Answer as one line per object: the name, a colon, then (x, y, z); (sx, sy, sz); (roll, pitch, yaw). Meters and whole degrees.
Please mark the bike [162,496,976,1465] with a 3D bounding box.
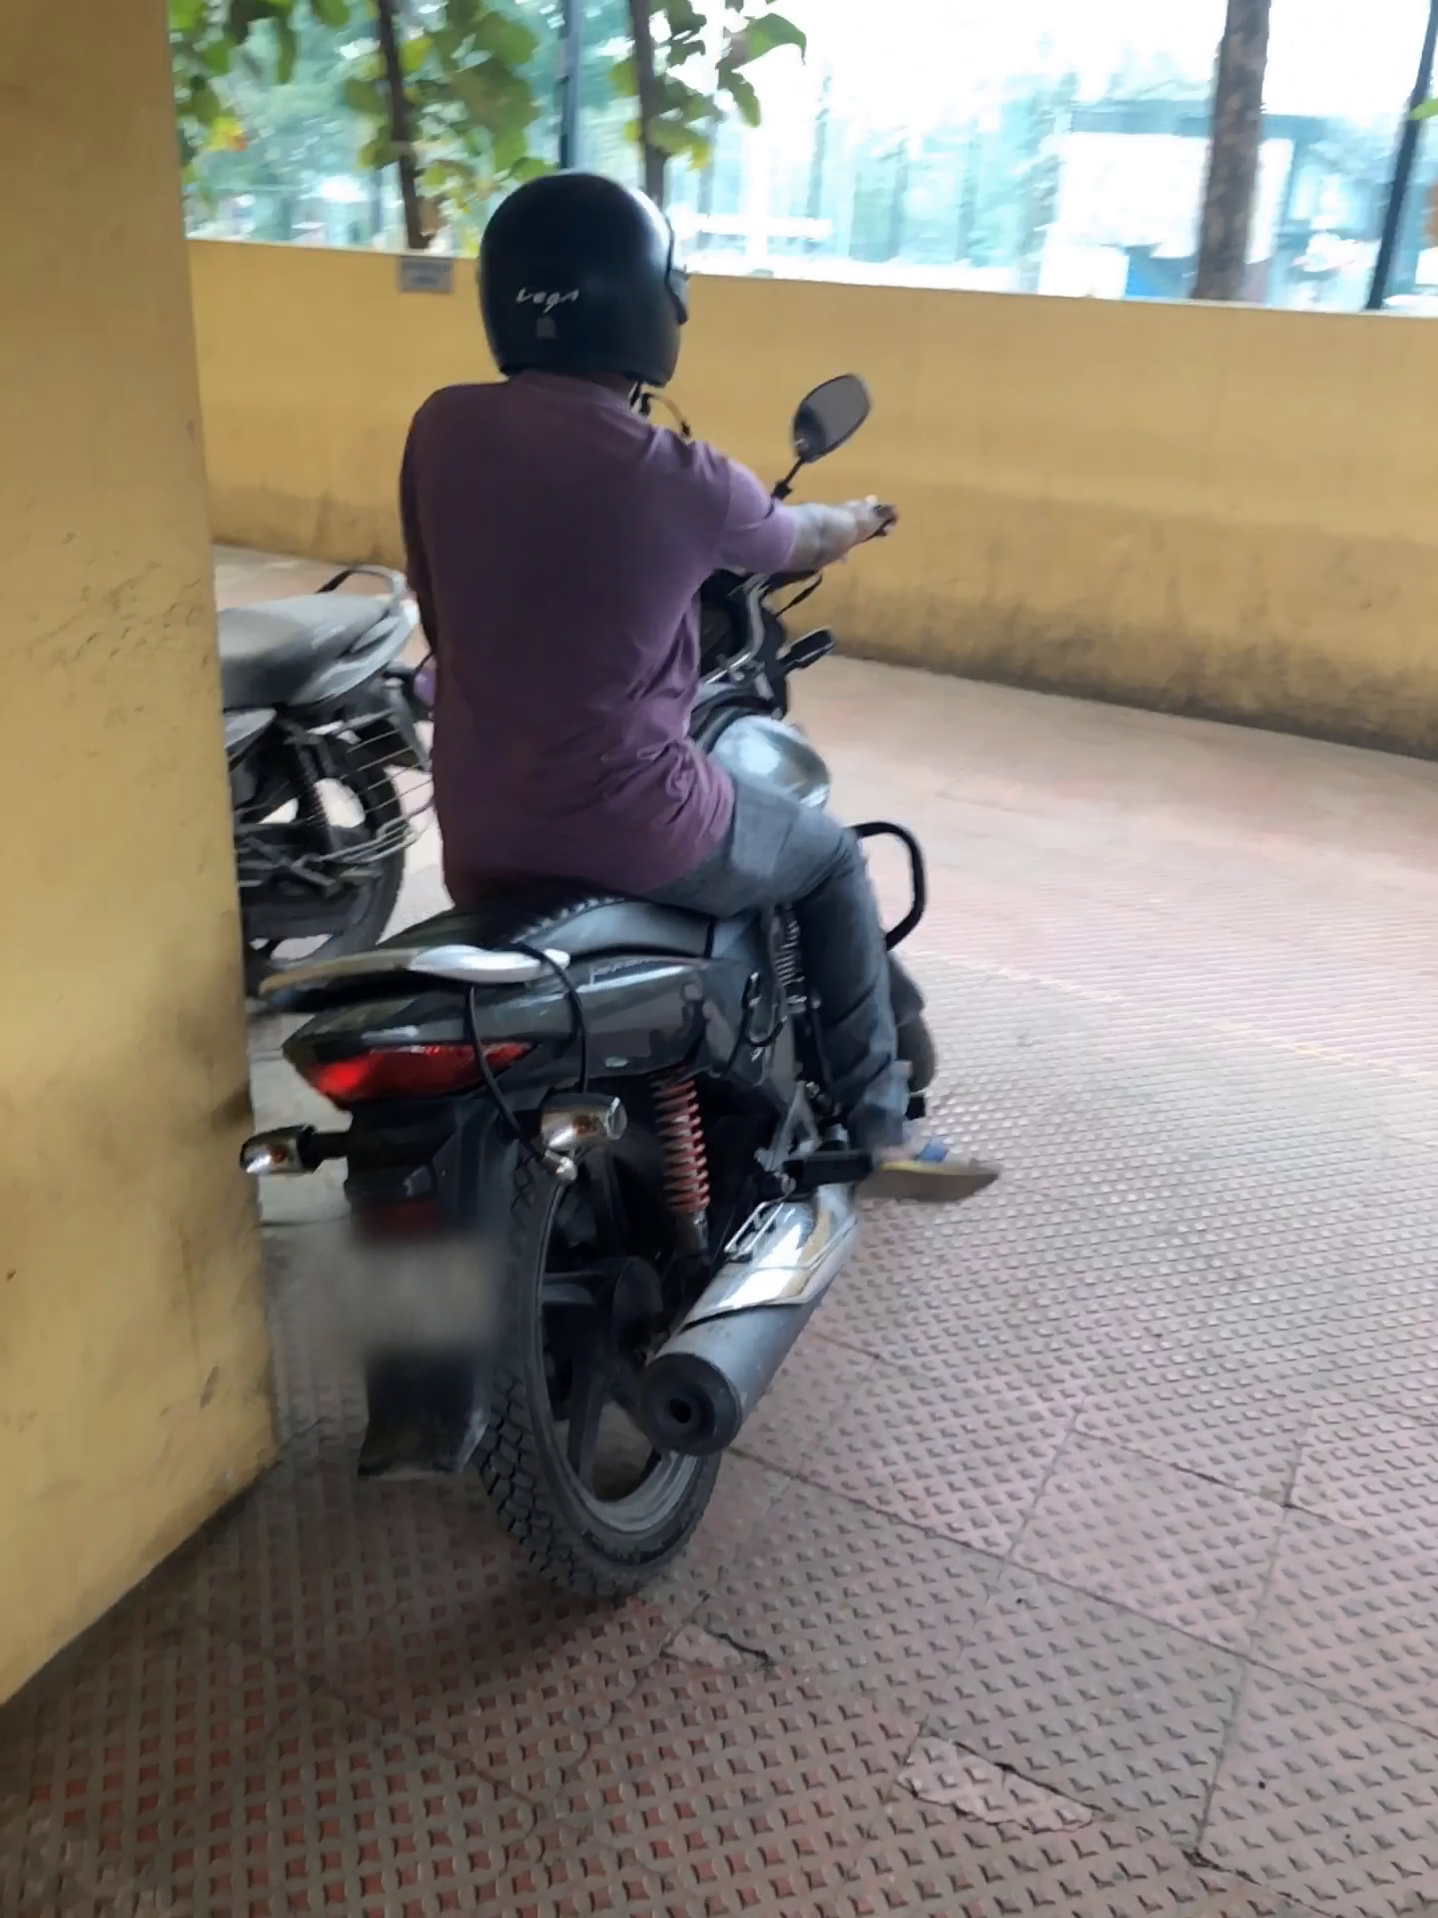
bike: (-0.104, -0.102, 2.336); (0.699, 1.000, 1.243); (9, 22, 13)
